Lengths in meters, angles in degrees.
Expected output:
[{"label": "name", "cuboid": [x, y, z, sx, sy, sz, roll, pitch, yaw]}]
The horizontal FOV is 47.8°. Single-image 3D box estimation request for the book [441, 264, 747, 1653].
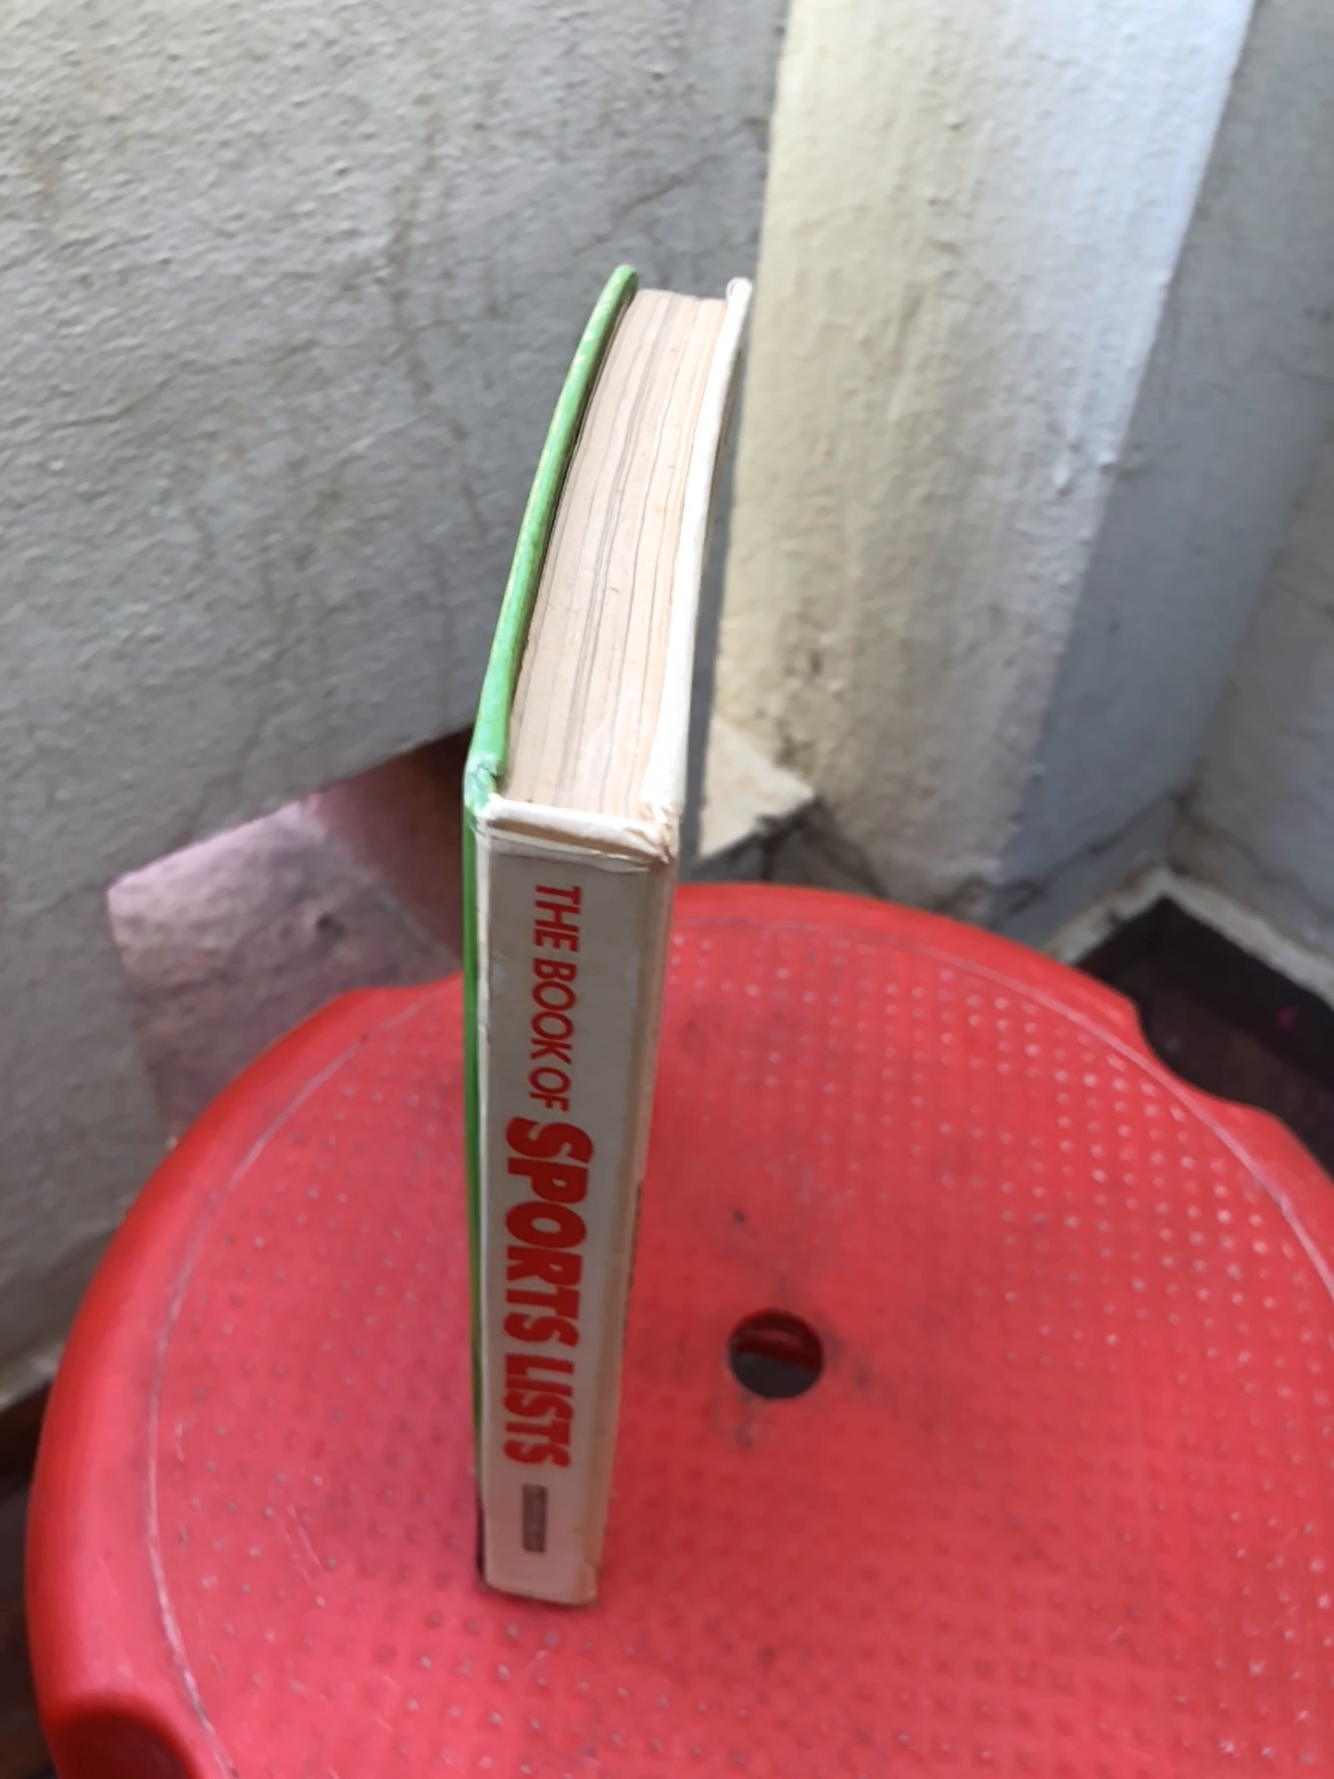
[{"label": "book", "cuboid": [-0.014, 0.022, 0.285, 0.030, 0.219, 0.151, 6, 43, -1]}]
